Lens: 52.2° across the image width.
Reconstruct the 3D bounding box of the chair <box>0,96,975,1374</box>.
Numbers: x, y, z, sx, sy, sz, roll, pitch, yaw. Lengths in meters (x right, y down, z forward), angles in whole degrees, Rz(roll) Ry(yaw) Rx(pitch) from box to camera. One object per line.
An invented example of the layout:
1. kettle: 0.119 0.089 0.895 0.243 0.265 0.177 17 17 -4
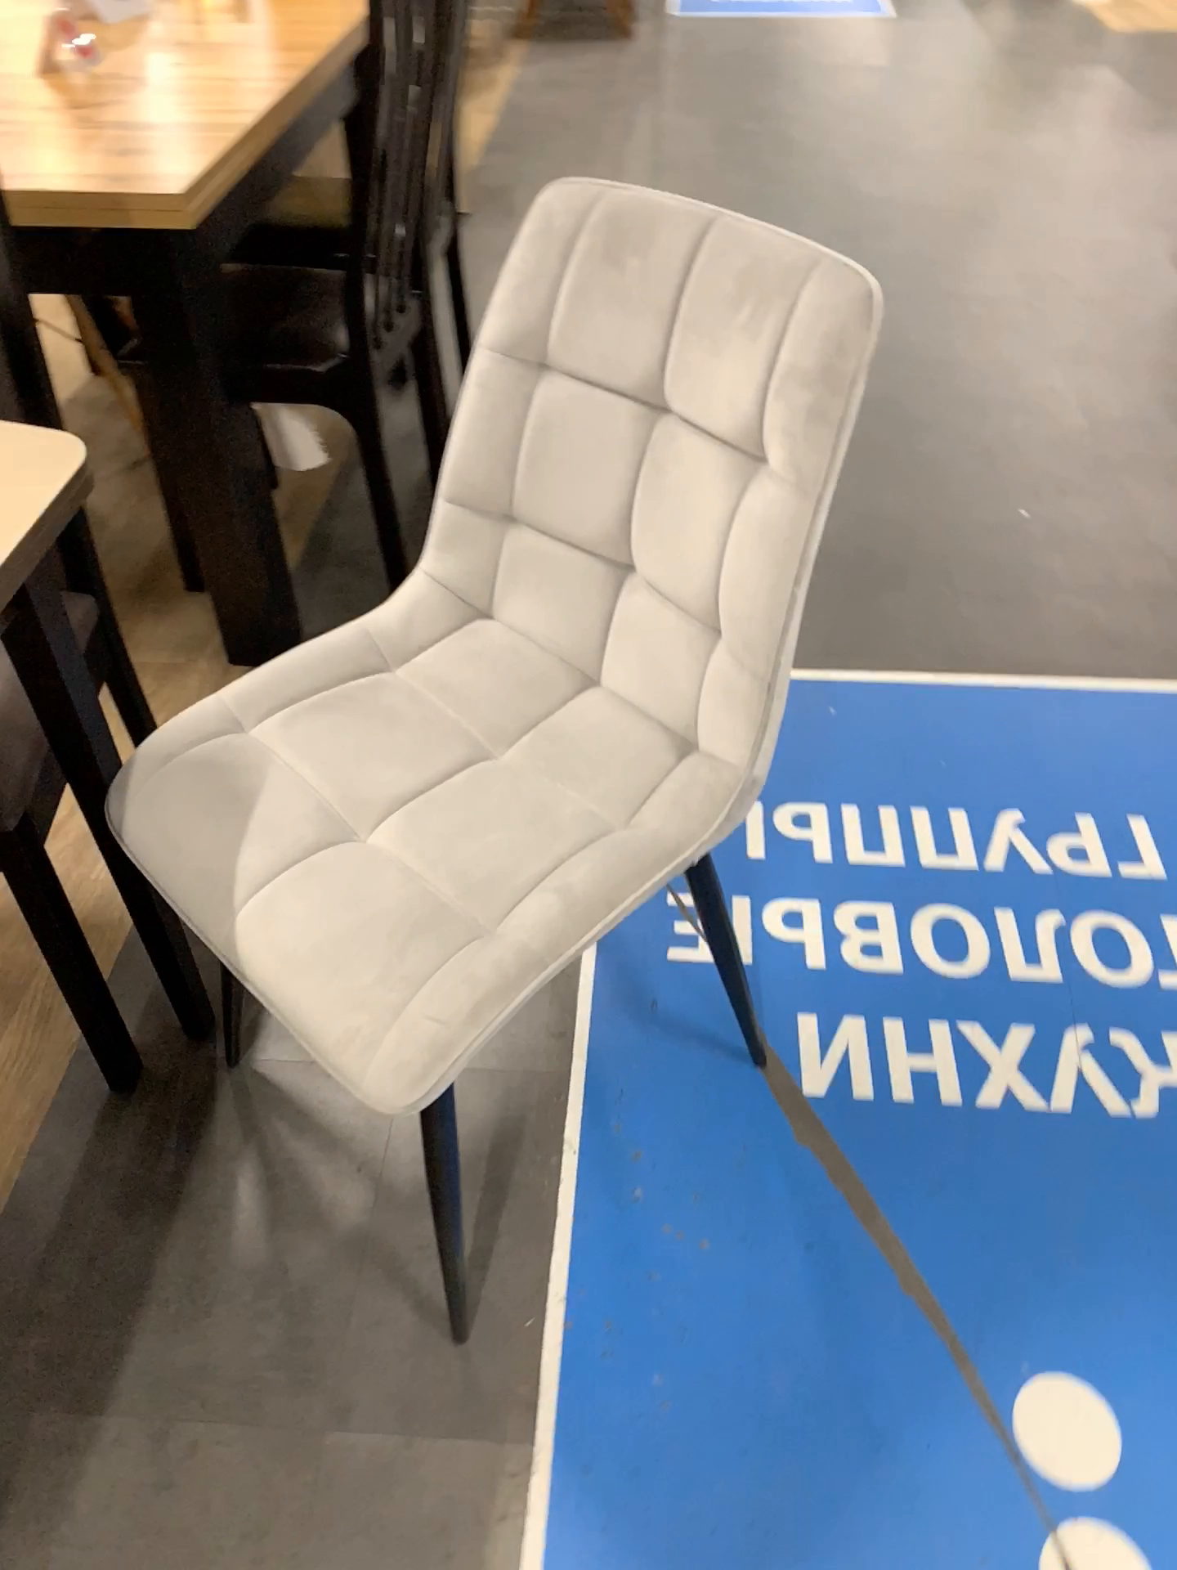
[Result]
1. chair: -0.102 -0.018 1.165 0.602 0.975 0.481 -33 52 -29
